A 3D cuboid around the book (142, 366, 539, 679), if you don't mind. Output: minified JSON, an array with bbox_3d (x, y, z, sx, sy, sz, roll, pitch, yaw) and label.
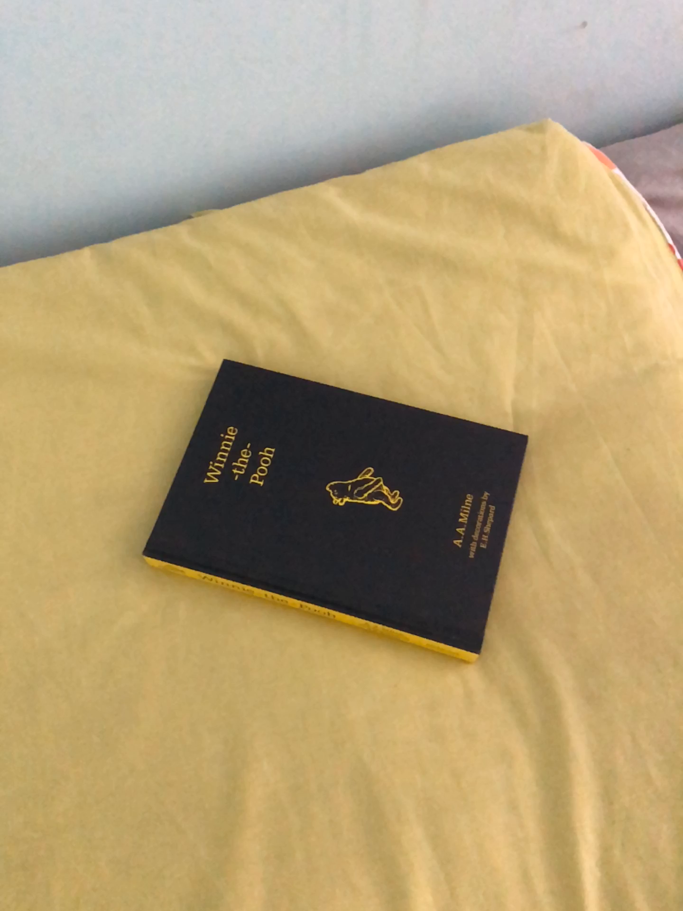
[{"bbox_3d":[0.003,0.037,0.490,0.220,0.020,0.150,16,68,7],"label":"book"}]
